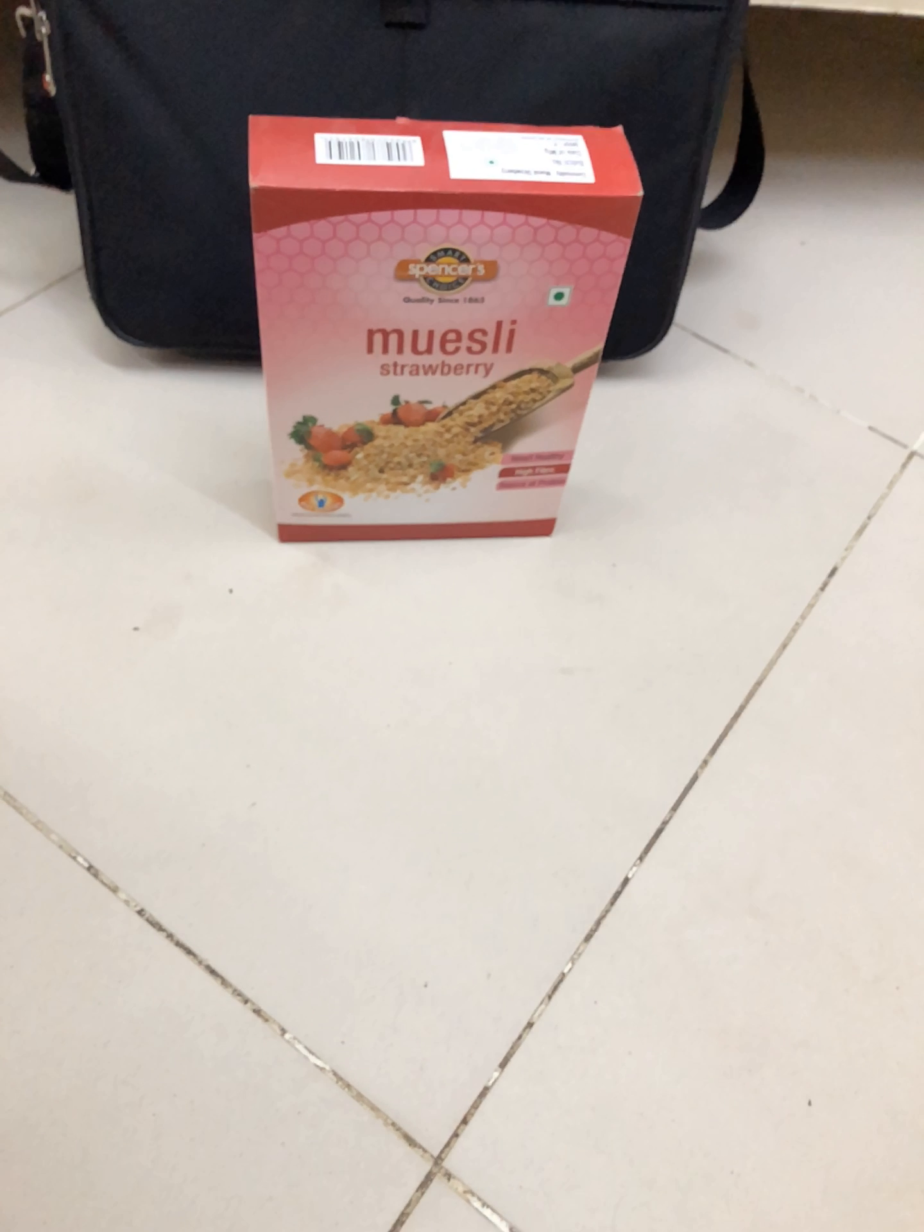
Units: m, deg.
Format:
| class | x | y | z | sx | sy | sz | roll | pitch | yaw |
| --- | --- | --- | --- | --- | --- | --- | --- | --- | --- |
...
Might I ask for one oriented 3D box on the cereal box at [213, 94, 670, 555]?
| class | x | y | z | sx | sy | sz | roll | pitch | yaw |
| --- | --- | --- | --- | --- | --- | --- | --- | --- | --- |
| cereal box | -0.021 | -0.141 | 0.567 | 0.200 | 0.258 | 0.060 | -2 | 55 | -8 |
